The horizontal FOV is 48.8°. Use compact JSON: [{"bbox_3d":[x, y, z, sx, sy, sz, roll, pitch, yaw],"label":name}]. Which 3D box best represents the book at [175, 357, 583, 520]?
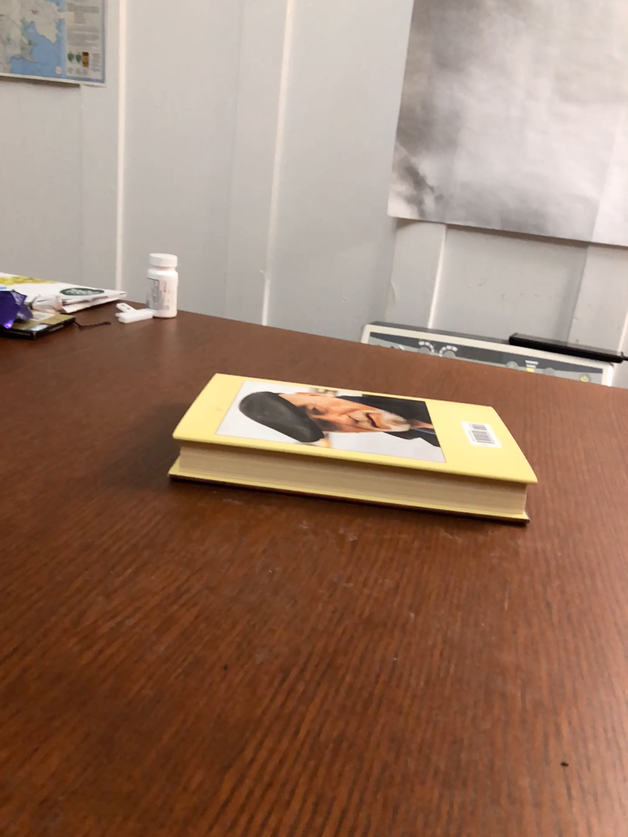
[{"bbox_3d":[0.043,0.005,0.518,0.250,0.030,0.191,6,19,1],"label":"book"}]
